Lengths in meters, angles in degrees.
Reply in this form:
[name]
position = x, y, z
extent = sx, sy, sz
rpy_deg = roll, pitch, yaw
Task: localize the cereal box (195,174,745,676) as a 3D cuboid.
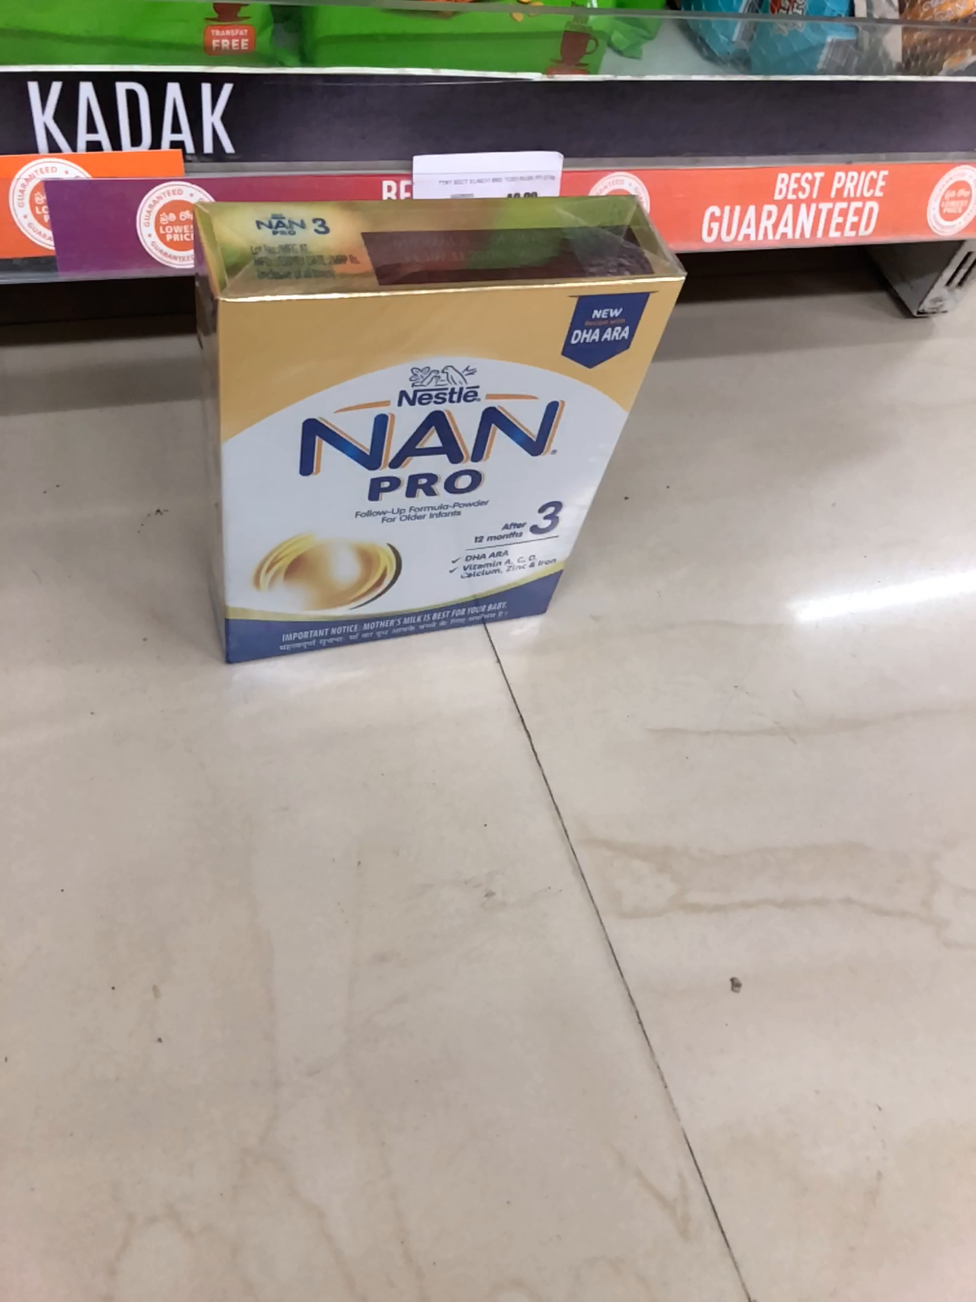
[cereal box]
position = -0.020, -0.075, 0.400
extent = 0.160, 0.189, 0.050
rpy_deg = -9, 59, -19
